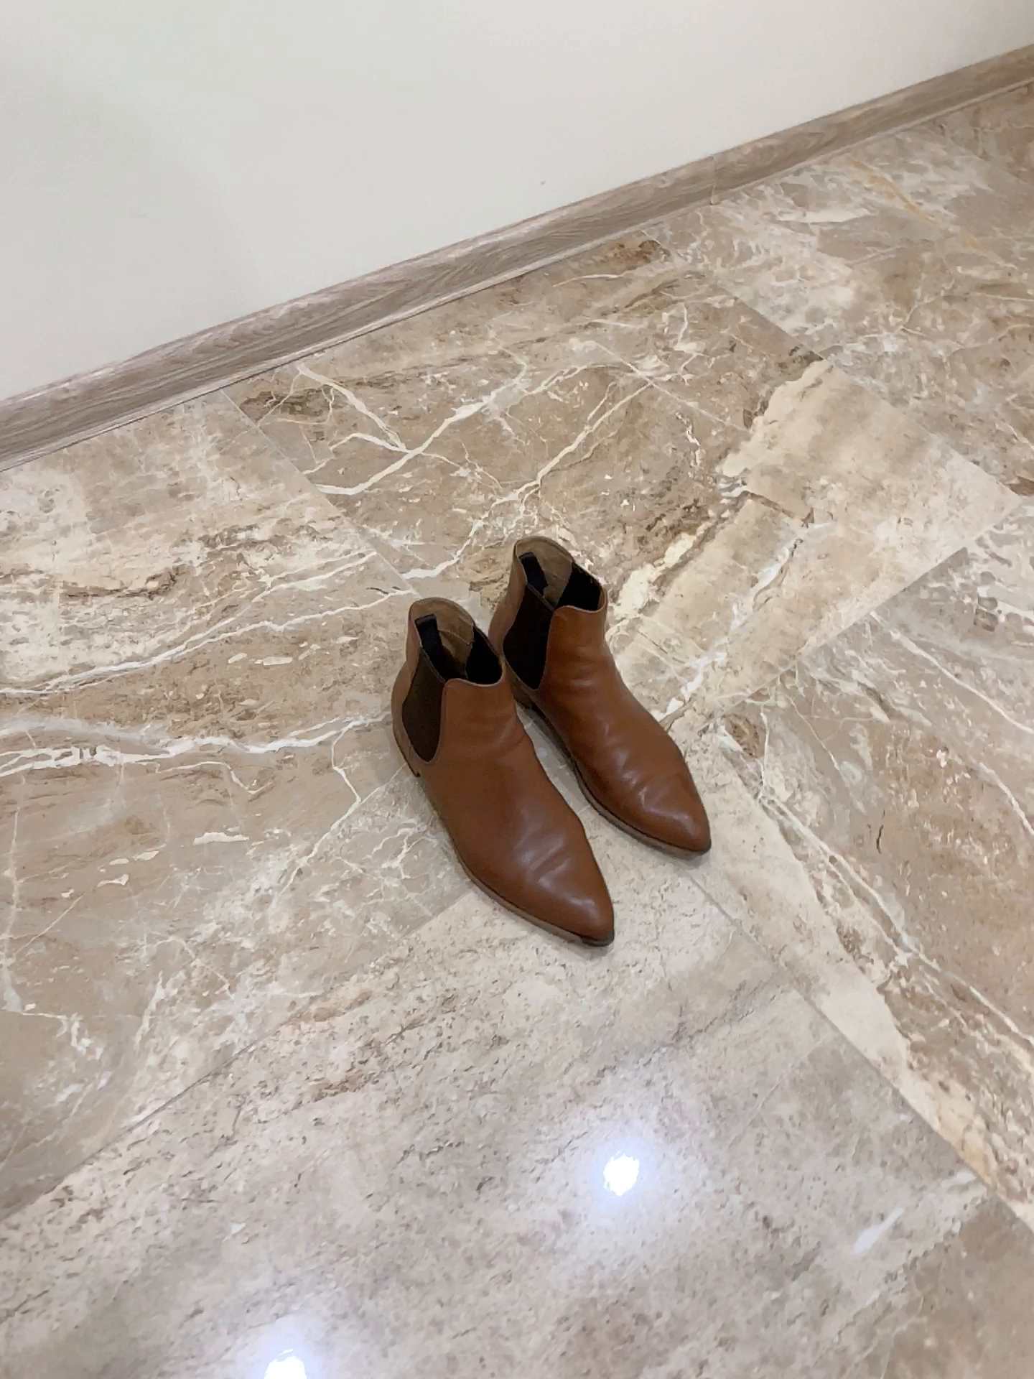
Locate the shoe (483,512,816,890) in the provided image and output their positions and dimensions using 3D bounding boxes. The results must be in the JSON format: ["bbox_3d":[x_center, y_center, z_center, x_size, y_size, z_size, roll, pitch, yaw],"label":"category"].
[{"bbox_3d":[0.085,0.004,0.790,0.090,0.119,0.251,-25,60,-25],"label":"shoe"}]

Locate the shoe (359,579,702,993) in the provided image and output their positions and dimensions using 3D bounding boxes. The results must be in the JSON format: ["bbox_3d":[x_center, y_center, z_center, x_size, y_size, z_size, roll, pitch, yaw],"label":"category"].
[{"bbox_3d":[-0.004,0.063,0.740,0.090,0.129,0.251,-29,62,-26],"label":"shoe"}]
